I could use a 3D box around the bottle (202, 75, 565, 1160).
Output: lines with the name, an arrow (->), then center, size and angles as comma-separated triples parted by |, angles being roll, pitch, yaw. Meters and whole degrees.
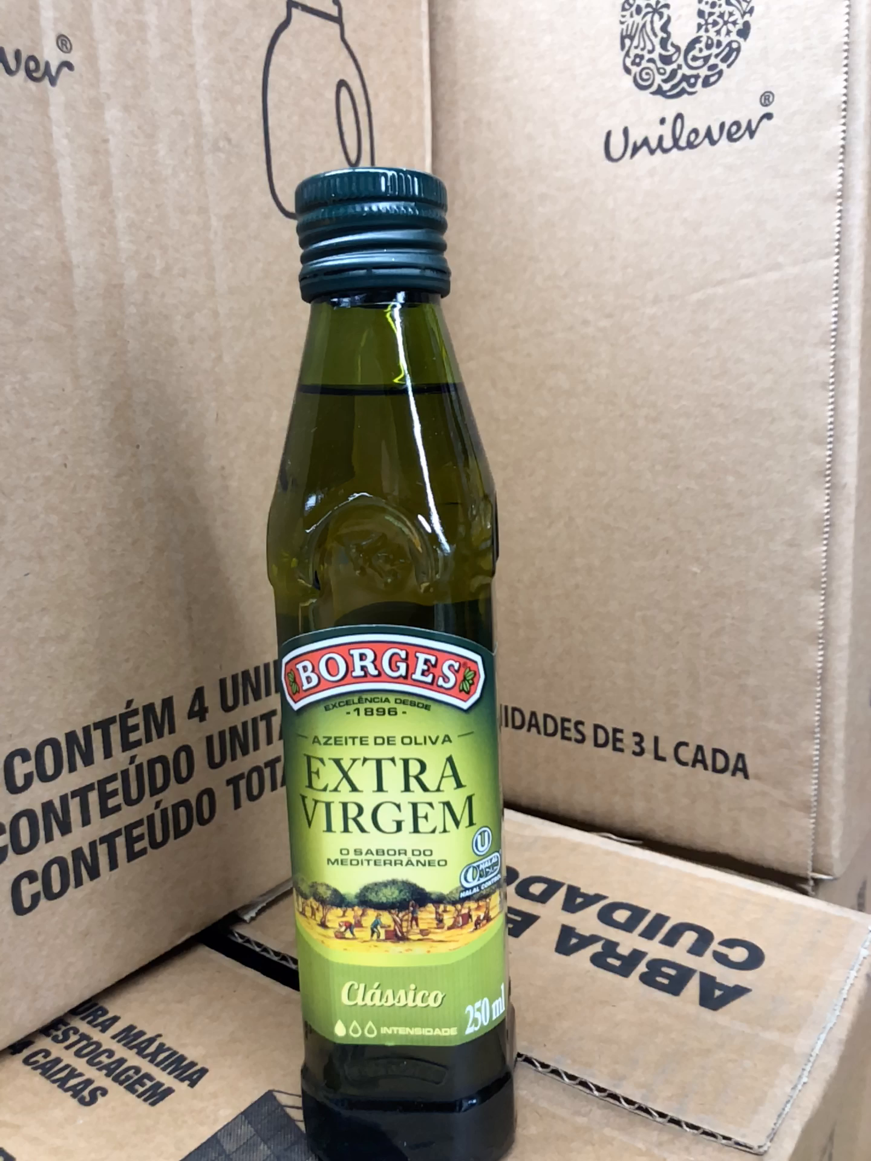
bottle -> -0.007, 0.019, 0.209 | 0.060, 0.219, 0.060 | 0, 10, 0
